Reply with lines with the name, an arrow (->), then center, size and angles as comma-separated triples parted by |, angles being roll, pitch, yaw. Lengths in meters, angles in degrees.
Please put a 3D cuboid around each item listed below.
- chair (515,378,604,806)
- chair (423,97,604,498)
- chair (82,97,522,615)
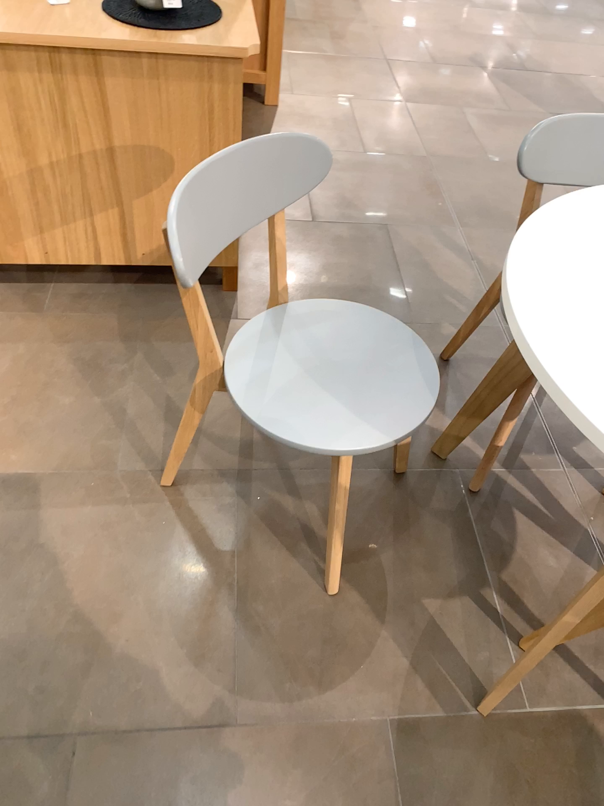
chair -> 0.776, 0.449, 0.905 | 0.519, 0.798, 0.545 | 3, 47, -5
chair -> 0.703, -0.219, 1.537 | 0.519, 0.798, 0.545 | 2, 48, -6
chair -> -0.008, -0.076, 1.294 | 0.531, 0.798, 0.523 | 27, 50, 16
